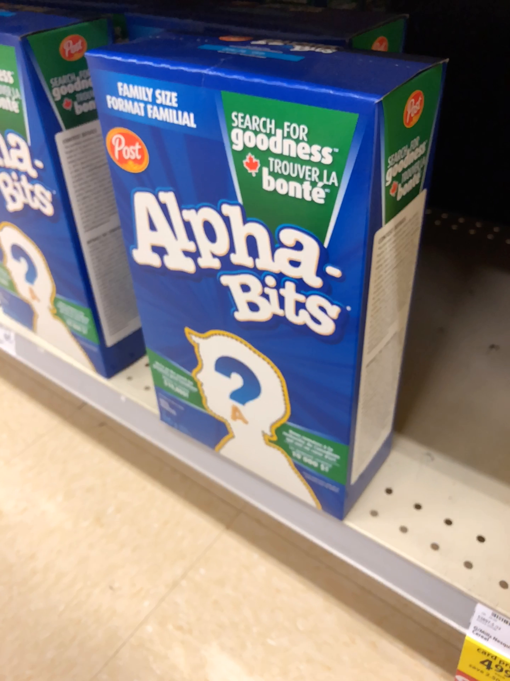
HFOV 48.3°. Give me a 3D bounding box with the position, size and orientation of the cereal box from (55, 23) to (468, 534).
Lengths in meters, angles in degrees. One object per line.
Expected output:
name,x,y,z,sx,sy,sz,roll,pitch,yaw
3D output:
cereal box,-0.001,-0.035,0.393,0.211,0.298,0.080,23,45,28
